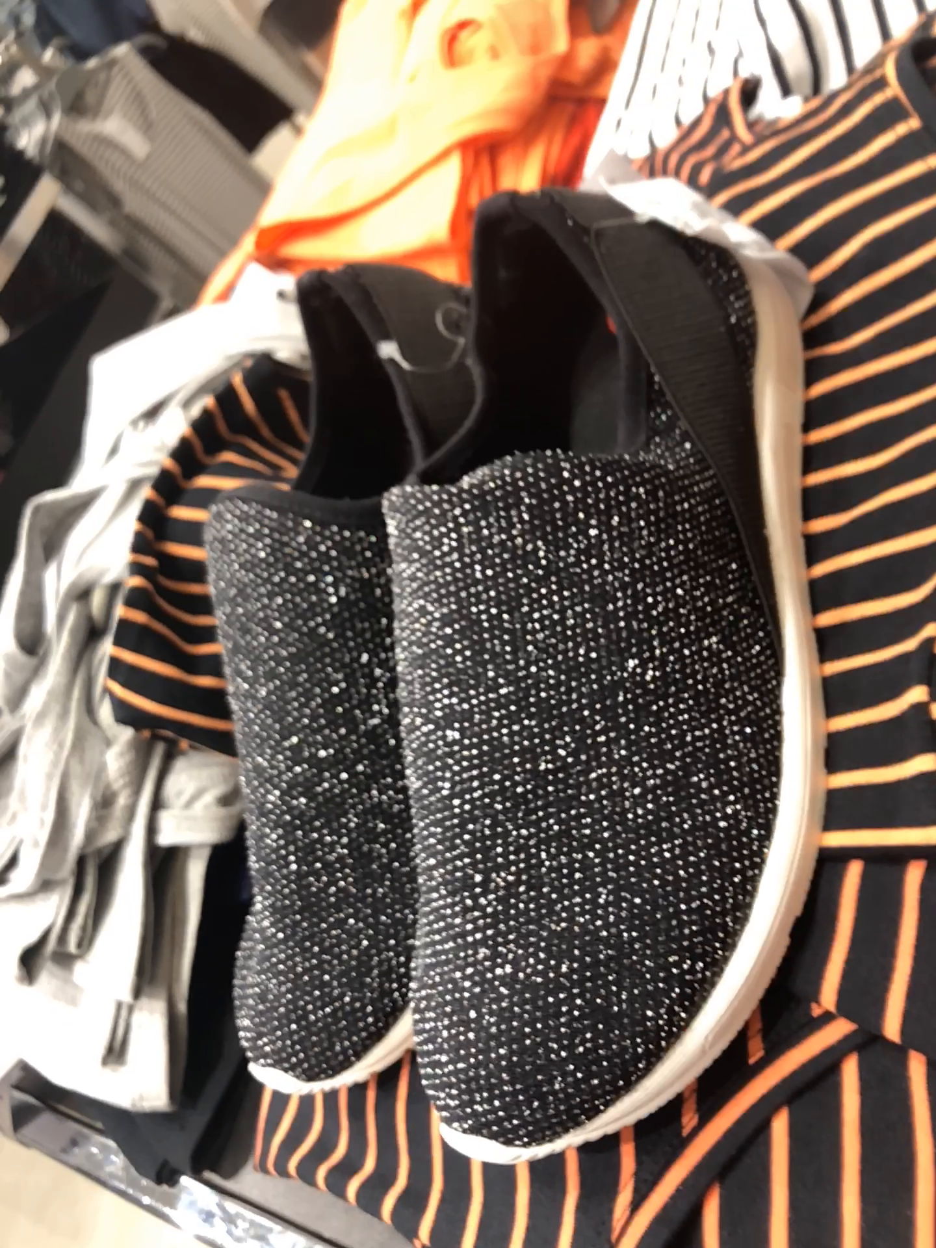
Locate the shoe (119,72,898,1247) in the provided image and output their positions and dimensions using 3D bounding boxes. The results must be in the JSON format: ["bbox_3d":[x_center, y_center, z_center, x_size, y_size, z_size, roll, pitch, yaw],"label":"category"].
[{"bbox_3d":[0.030,0.003,0.268,0.100,0.109,0.241,-10,54,41],"label":"shoe"}]

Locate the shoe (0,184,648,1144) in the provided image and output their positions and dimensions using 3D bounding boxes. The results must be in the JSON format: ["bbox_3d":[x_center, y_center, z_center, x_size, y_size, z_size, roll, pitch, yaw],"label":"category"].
[{"bbox_3d":[-0.040,0.007,0.323,0.100,0.109,0.240,-7,55,42],"label":"shoe"}]
